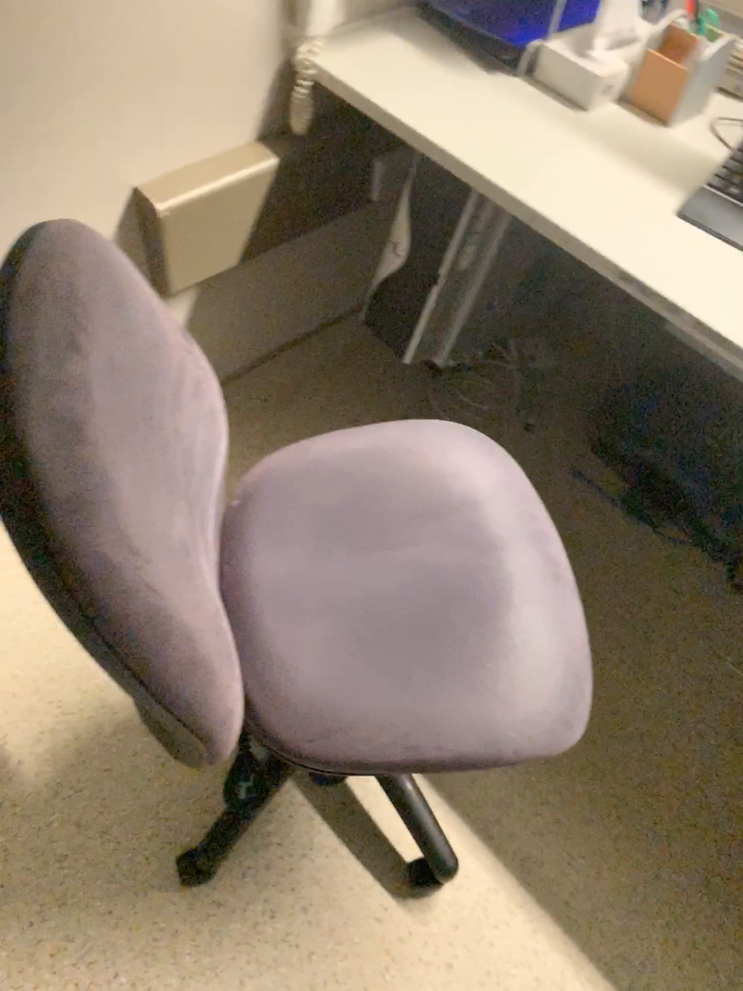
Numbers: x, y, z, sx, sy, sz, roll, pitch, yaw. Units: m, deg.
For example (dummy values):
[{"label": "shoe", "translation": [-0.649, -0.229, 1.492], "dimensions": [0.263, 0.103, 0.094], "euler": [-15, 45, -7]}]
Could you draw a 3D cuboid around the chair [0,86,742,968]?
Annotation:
[{"label": "chair", "translation": [-0.043, 0.111, 0.970], "dimensions": [0.680, 0.903, 0.675], "euler": [-5, 56, -11]}]
